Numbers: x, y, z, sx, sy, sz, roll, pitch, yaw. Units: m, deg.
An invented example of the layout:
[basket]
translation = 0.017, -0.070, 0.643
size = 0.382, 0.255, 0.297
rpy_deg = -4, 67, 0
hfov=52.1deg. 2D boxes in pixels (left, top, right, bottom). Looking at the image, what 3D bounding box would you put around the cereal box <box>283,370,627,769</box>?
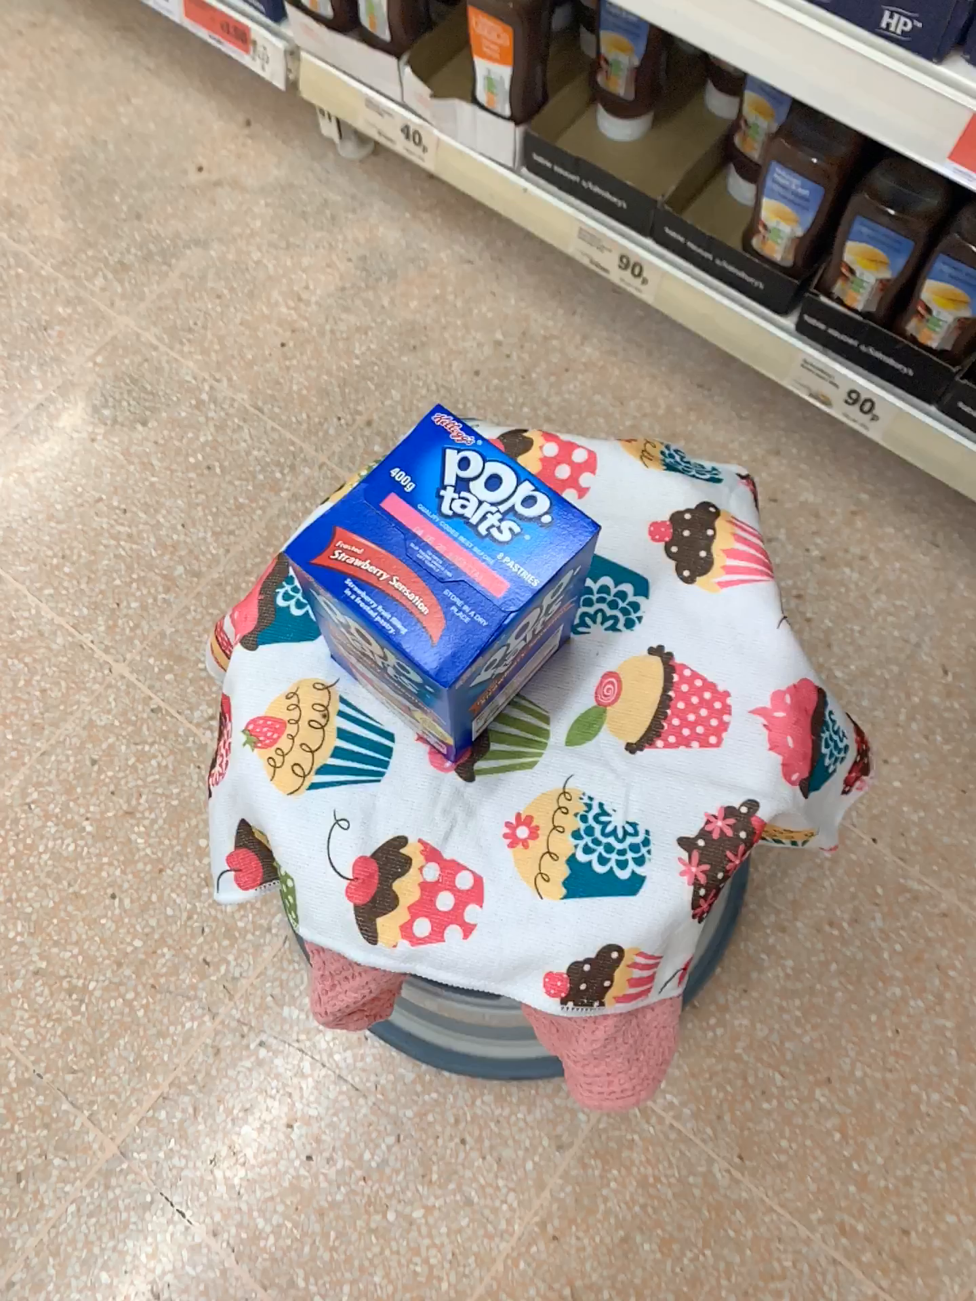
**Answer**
[cereal box]
translation = -0.011, -0.029, 0.455
size = 0.090, 0.139, 0.100
rpy_deg = 41, 75, 15
